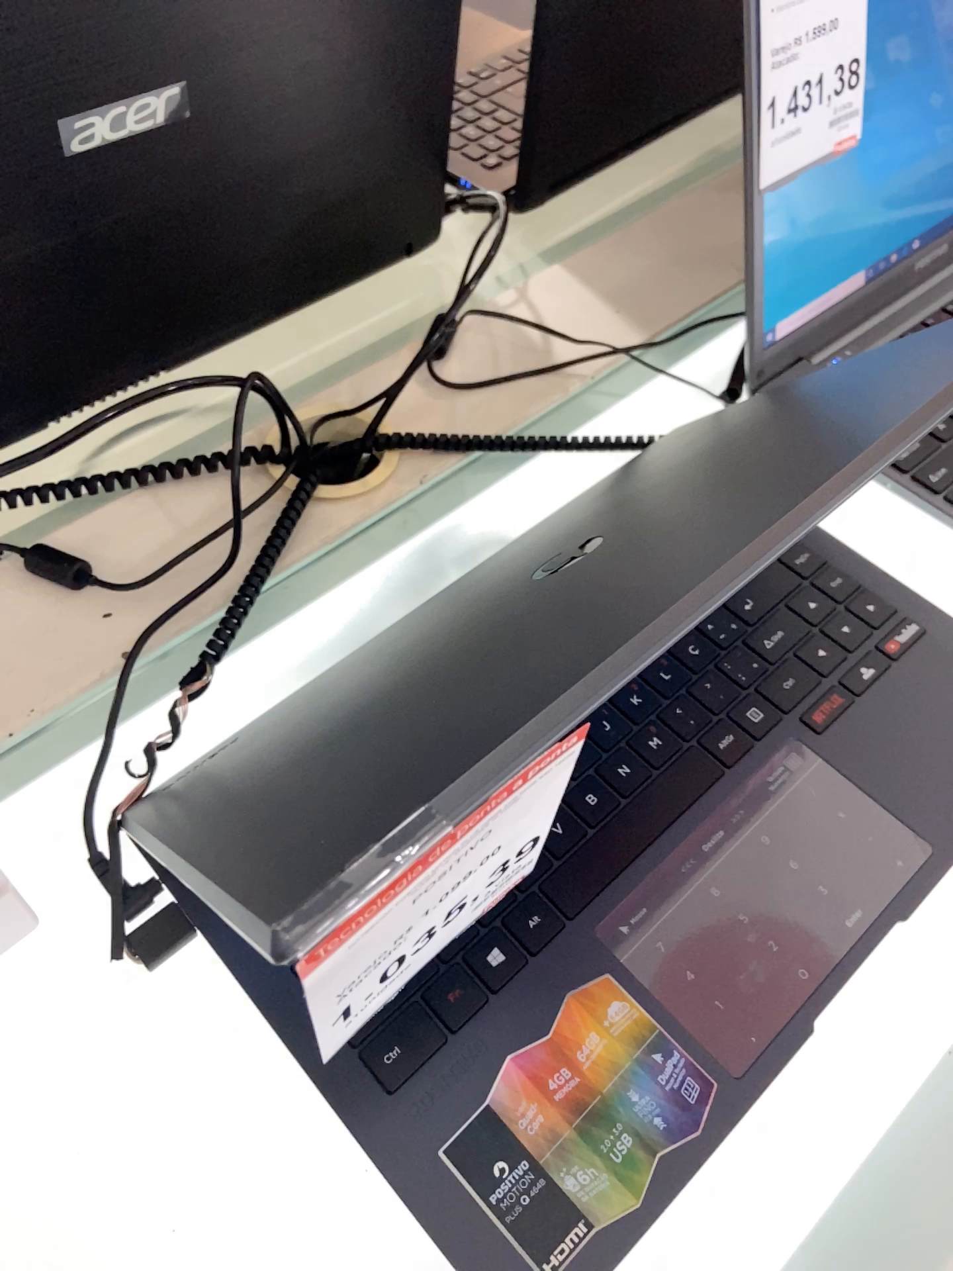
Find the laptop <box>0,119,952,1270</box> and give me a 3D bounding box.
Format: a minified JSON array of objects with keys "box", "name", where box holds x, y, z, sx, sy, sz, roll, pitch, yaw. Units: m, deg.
[{"box":[0.064,0.003,0.336,0.334,0.163,0.222,-36,63,-25],"name":"laptop"}]
